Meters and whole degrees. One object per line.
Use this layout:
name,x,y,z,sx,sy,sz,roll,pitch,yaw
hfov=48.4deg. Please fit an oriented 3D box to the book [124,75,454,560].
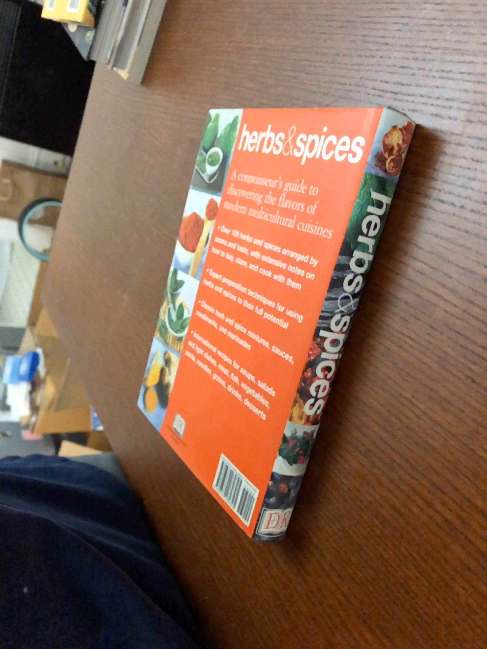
book,0.001,-0.023,0.379,0.211,0.040,0.270,33,110,53
